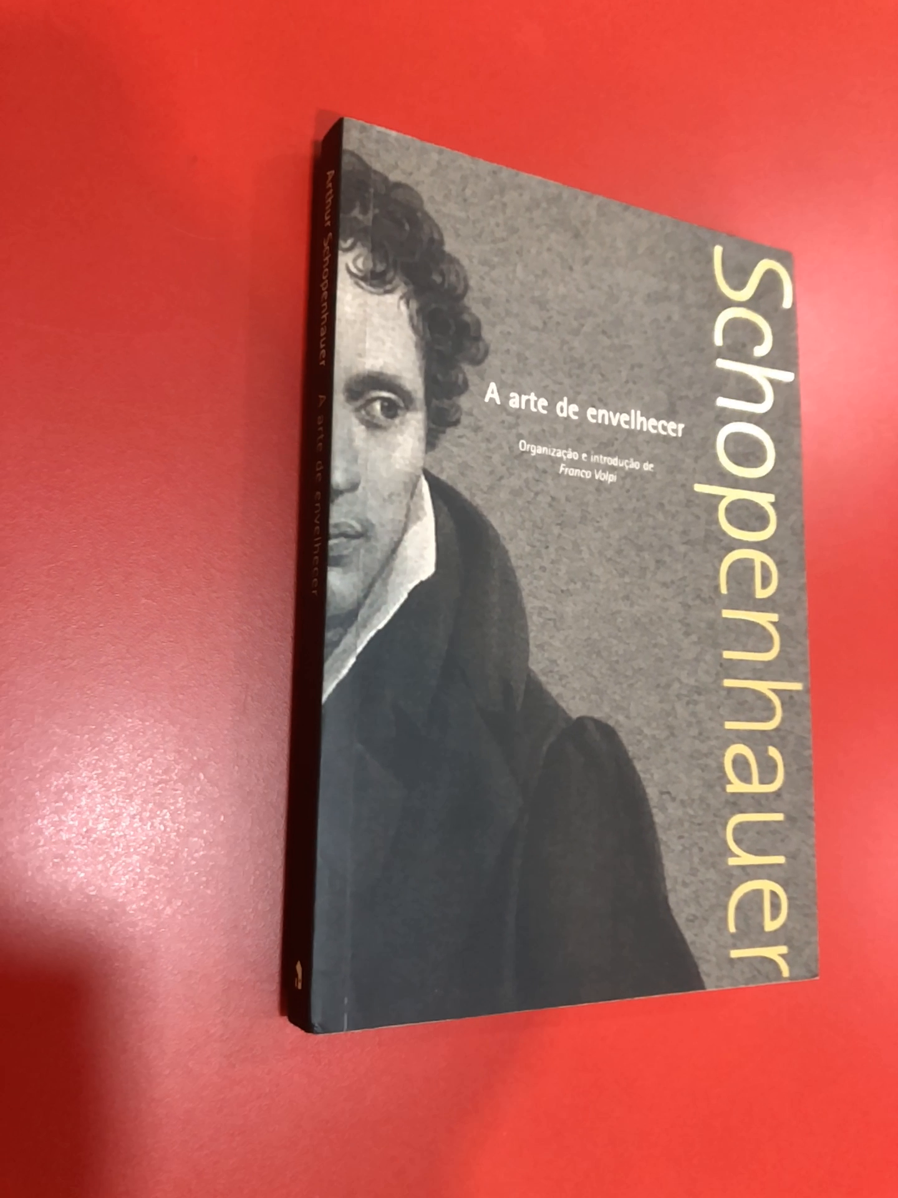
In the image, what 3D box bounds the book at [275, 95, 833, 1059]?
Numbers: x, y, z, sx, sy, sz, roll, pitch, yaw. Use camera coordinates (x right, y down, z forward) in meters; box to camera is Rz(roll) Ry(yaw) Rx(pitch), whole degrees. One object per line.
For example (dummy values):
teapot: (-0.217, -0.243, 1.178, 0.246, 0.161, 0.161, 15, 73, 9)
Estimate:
book: (0.033, -0.004, 0.239, 0.137, 0.017, 0.196, 5, 82, -26)
